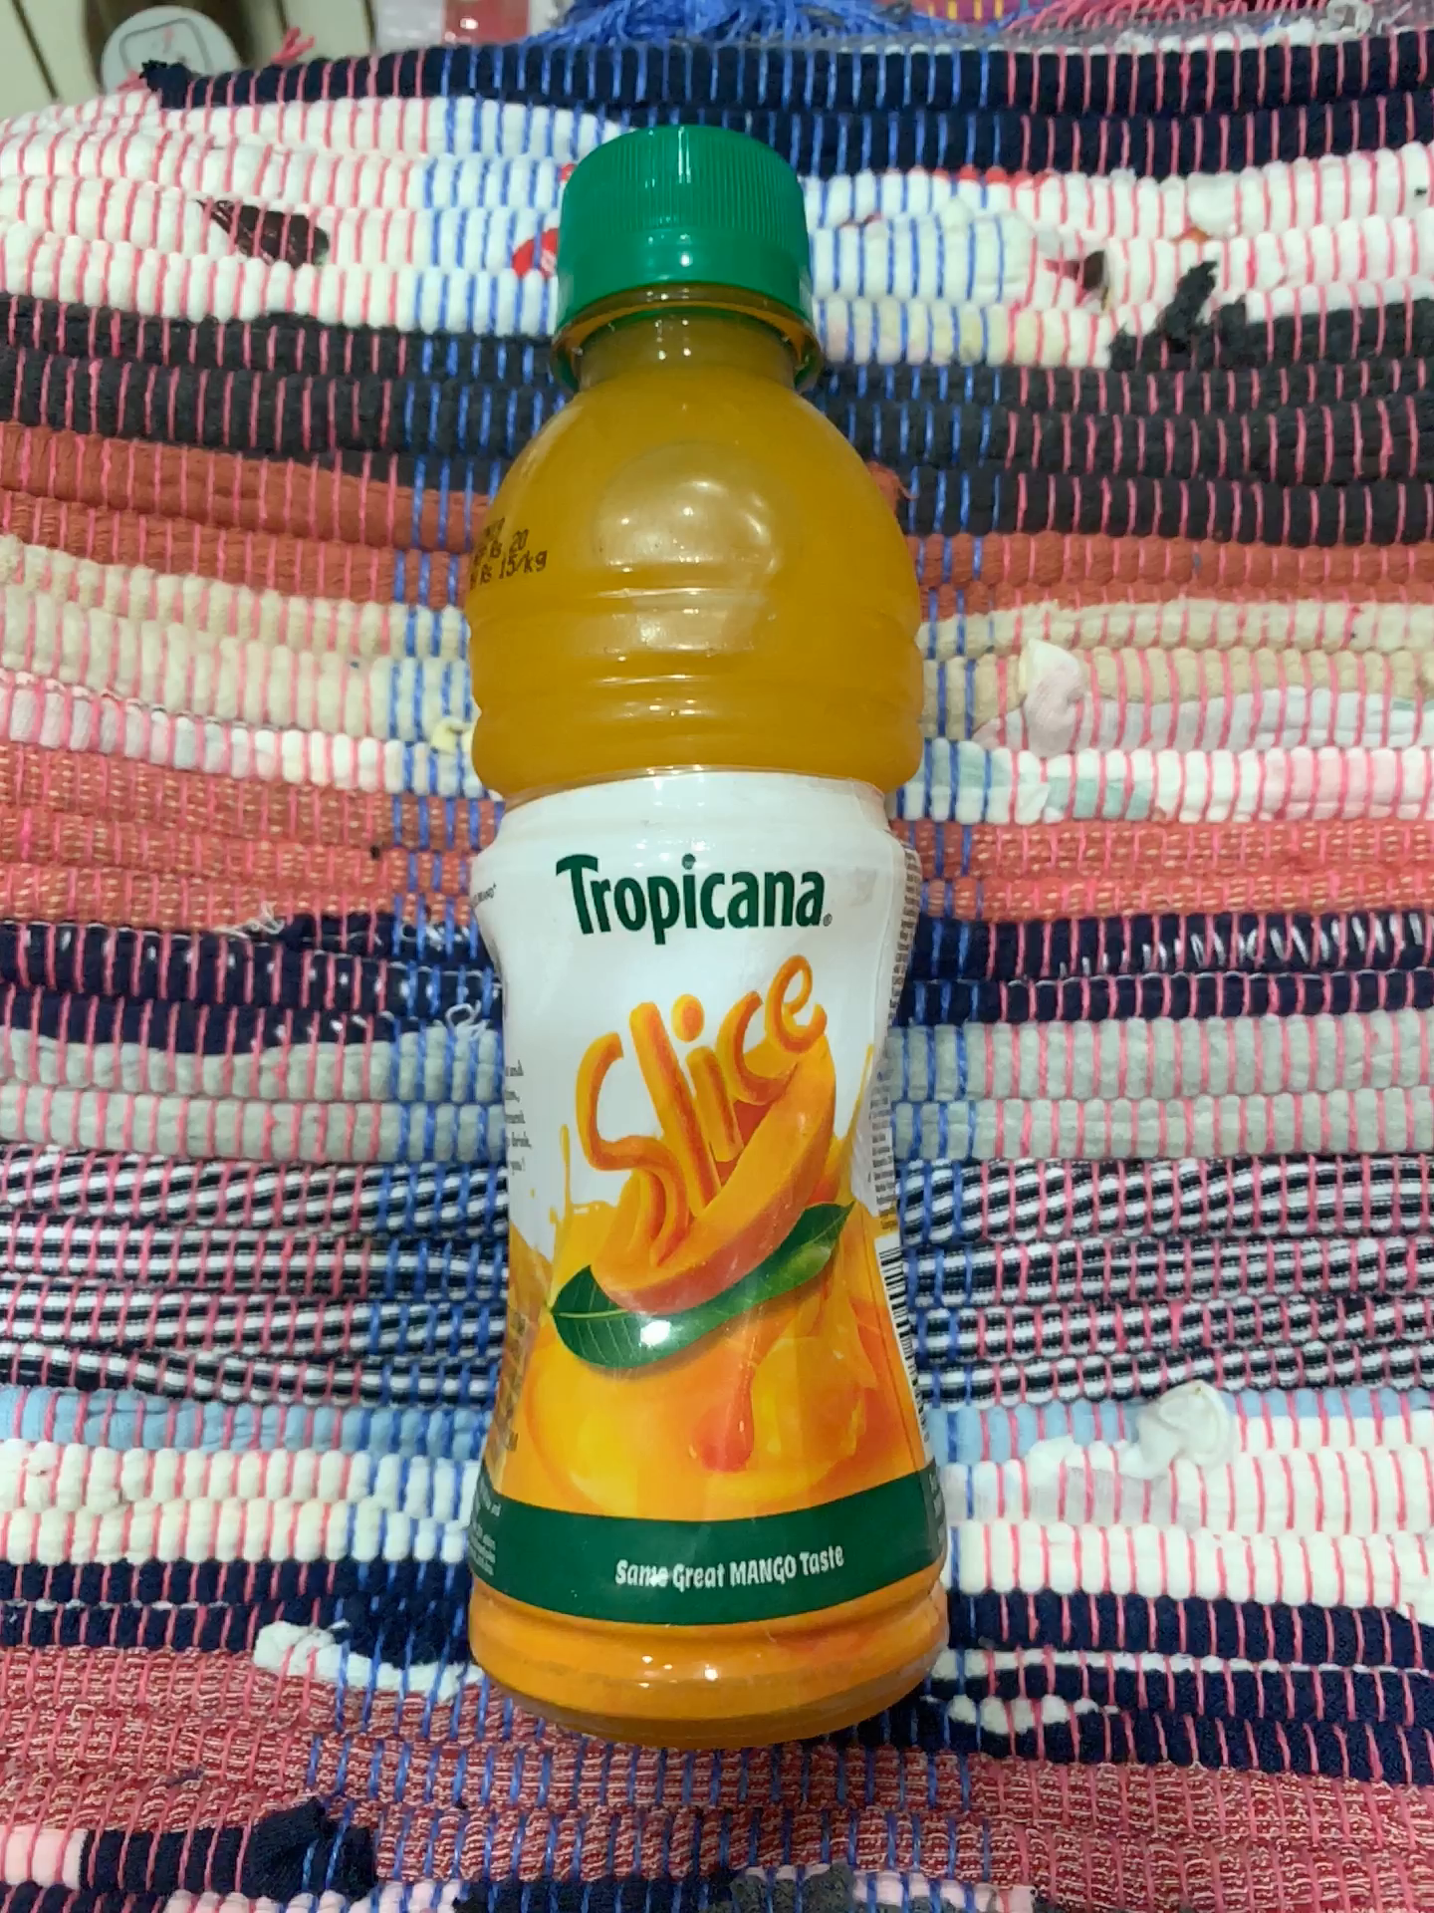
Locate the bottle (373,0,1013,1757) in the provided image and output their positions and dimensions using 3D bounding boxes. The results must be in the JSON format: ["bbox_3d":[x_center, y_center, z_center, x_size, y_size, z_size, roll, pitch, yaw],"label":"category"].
[{"bbox_3d":[-0.003,-0.016,0.179,0.060,0.050,0.190,1,82,-2],"label":"bottle"}]
